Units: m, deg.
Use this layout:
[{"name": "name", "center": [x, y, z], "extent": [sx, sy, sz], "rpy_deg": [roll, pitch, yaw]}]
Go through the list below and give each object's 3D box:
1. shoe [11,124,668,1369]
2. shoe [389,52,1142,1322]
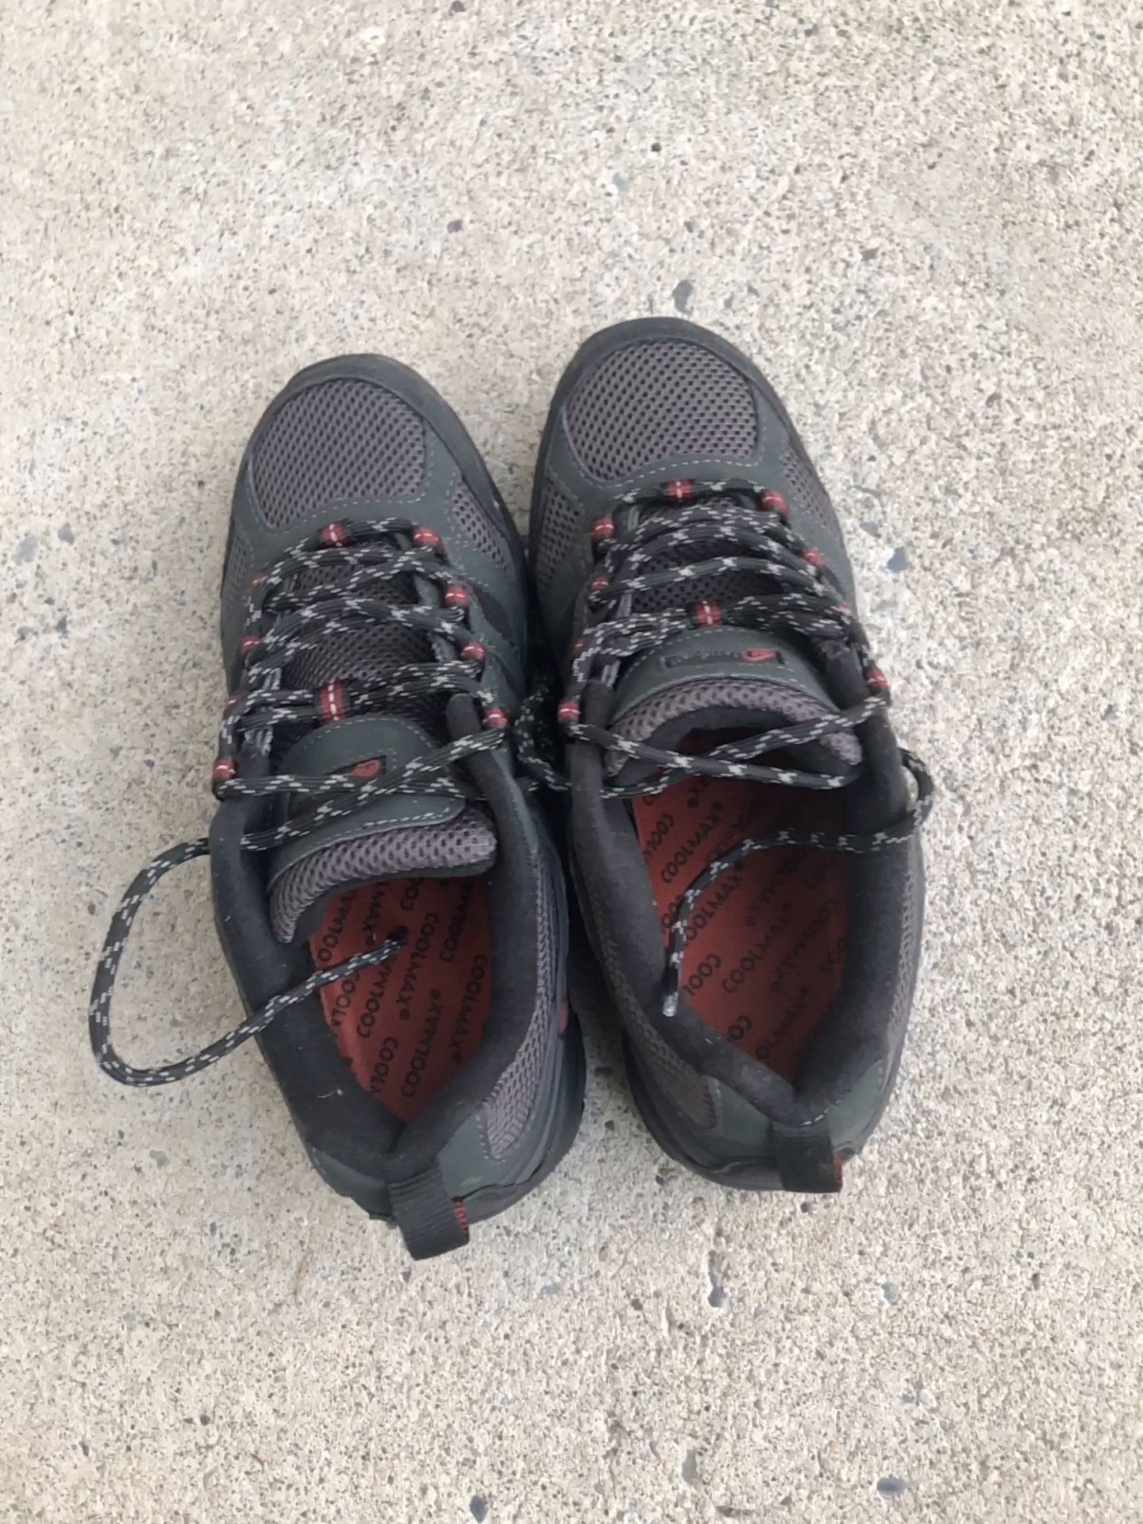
[{"name": "shoe", "center": [-0.063, -0.007, 0.374], "extent": [0.120, 0.110, 0.302], "rpy_deg": [-12, 80, 2]}, {"name": "shoe", "center": [0.044, -0.022, 0.363], "extent": [0.120, 0.110, 0.300], "rpy_deg": [-12, 80, 2]}]
